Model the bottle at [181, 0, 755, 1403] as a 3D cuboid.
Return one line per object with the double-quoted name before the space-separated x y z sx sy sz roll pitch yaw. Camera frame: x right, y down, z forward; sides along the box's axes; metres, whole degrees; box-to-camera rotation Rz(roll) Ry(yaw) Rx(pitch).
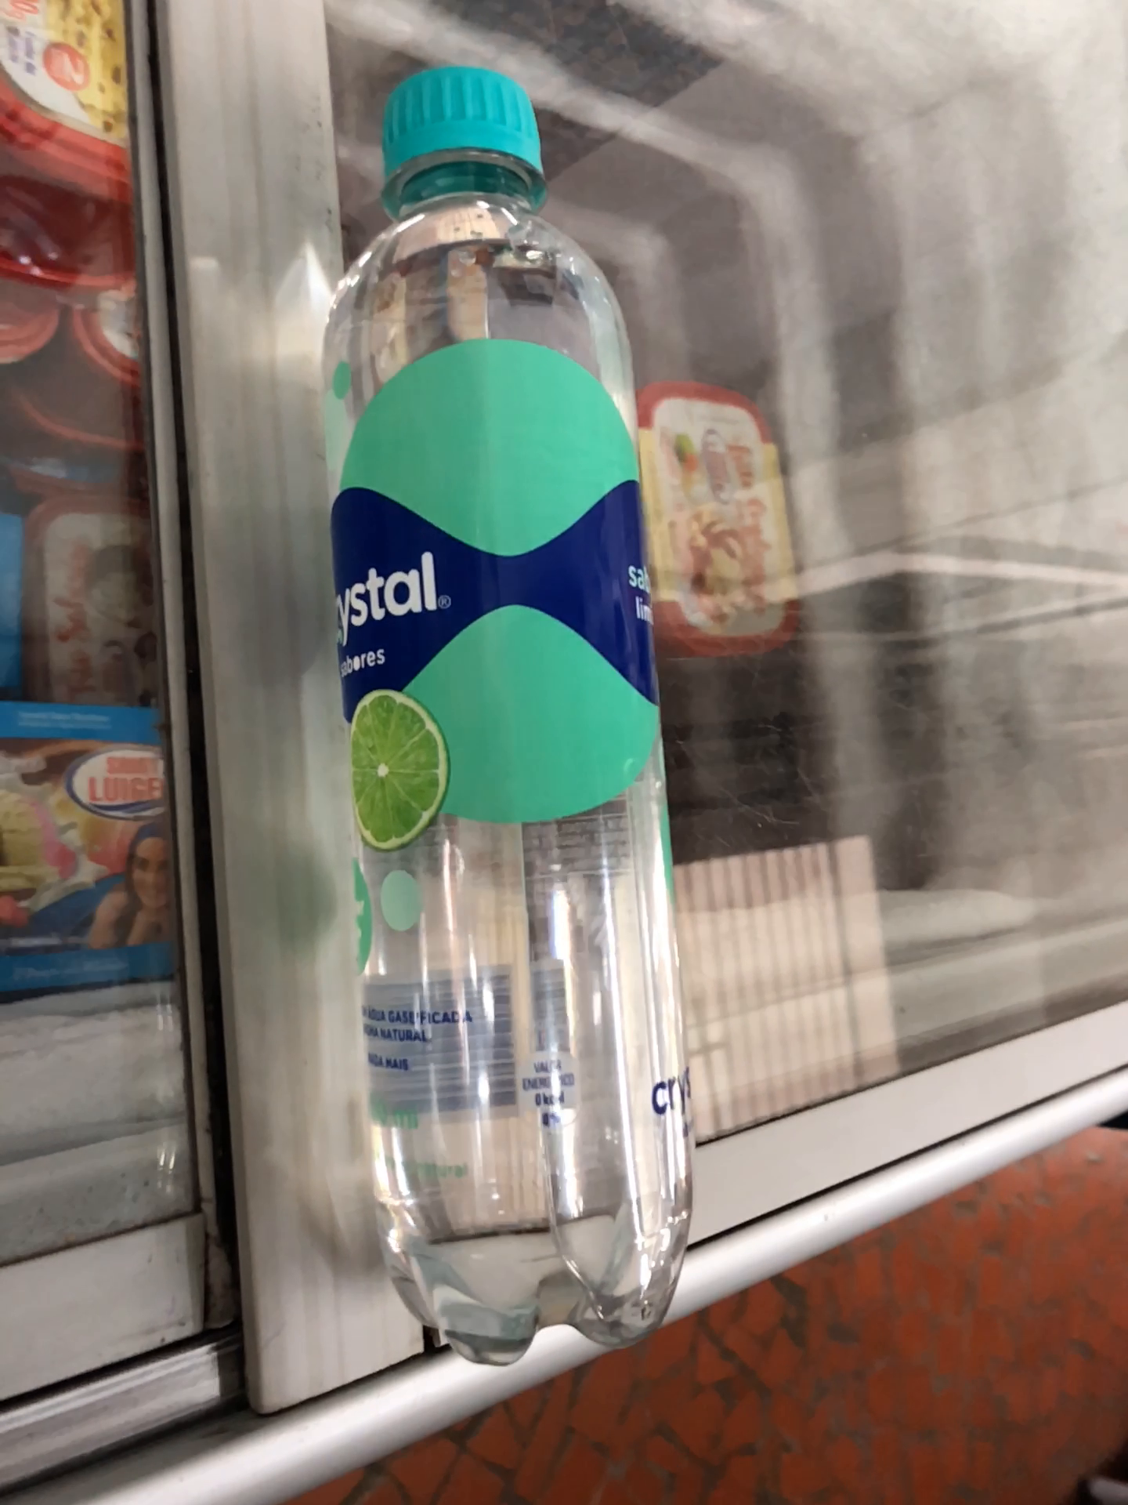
"bottle" -0.011 -0.013 0.241 0.070 0.070 0.240 -15 101 -75
